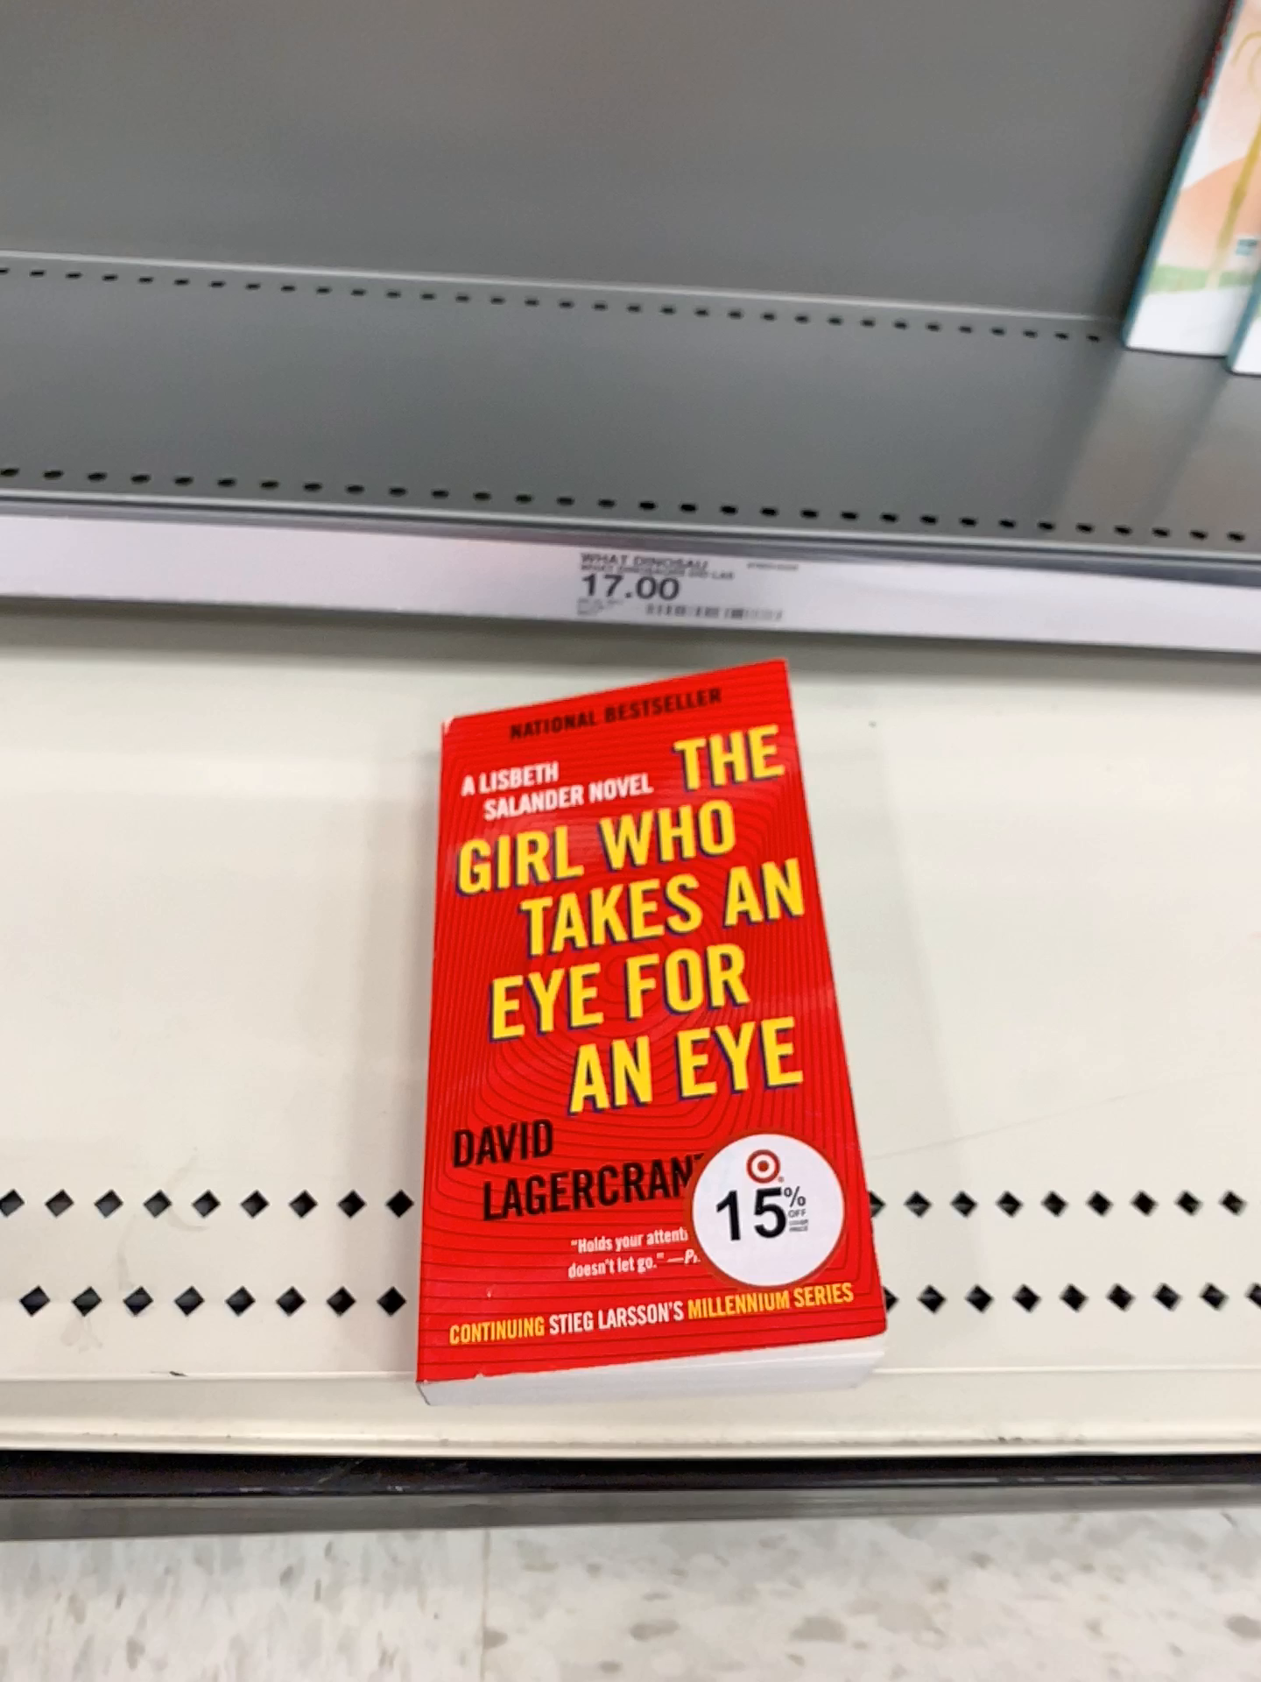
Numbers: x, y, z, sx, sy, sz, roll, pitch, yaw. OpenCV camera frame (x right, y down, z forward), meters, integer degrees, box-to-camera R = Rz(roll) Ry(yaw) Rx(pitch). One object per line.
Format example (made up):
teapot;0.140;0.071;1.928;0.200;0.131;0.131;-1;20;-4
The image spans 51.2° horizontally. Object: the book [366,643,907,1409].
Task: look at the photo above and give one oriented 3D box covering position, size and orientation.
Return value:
book;-0.005;0.038;0.353;0.115;0.046;0.200;-1;57;-4
